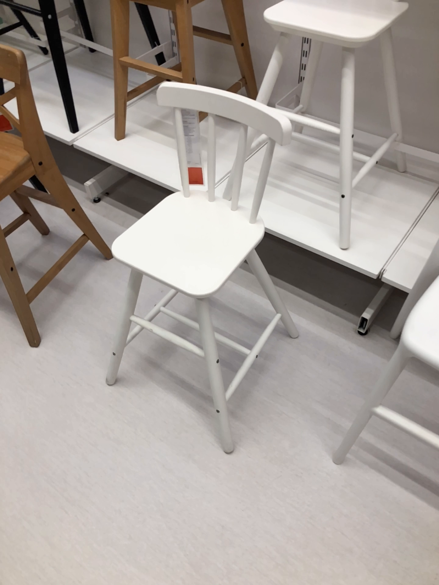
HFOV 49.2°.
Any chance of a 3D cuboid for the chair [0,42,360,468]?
[{"bbox_3d":[-0.048,-0.058,1.171,0.471,0.795,0.502,24,54,22],"label":"chair"}]
